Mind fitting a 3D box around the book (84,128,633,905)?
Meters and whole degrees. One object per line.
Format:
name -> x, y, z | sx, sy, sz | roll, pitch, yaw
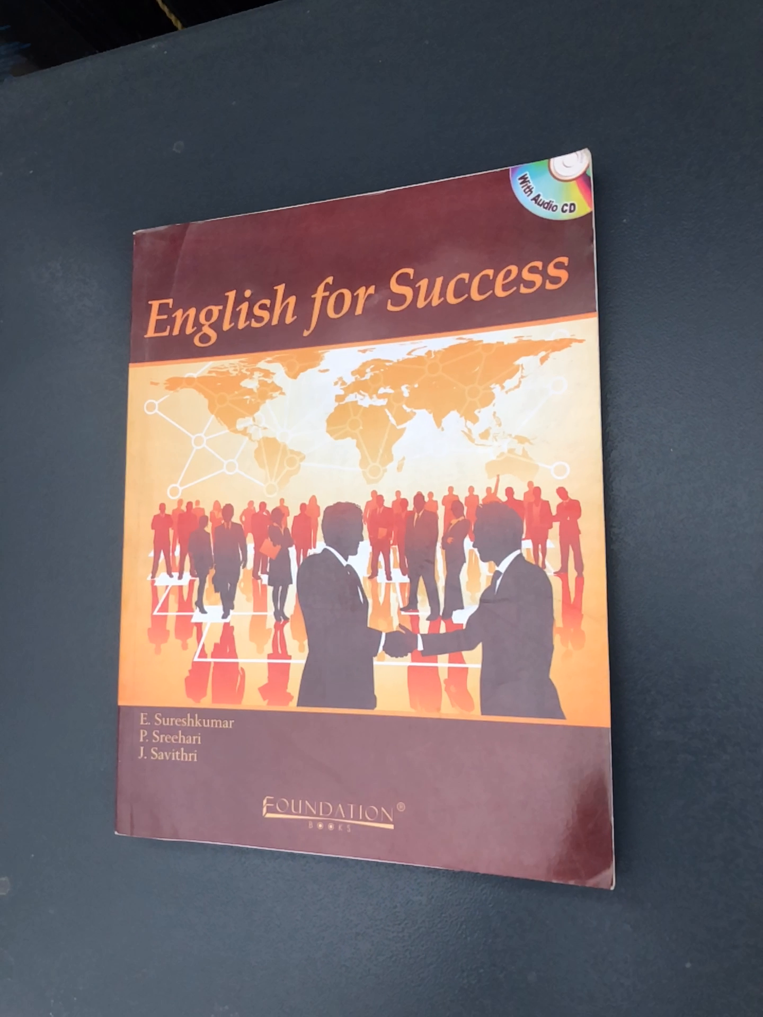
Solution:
book -> -0.014, 0.002, 0.305 | 0.190, 0.030, 0.240 | -3, 82, 19
